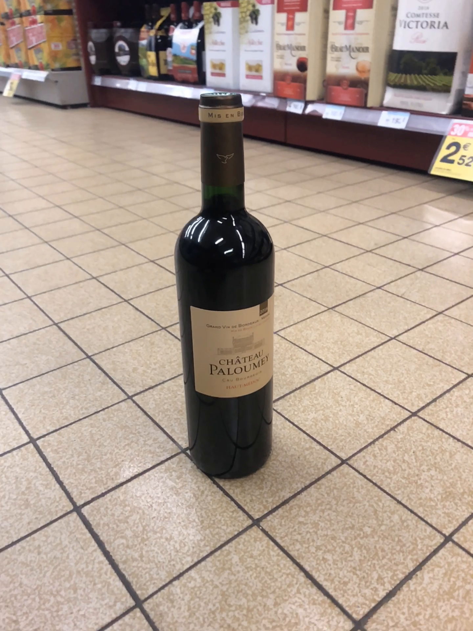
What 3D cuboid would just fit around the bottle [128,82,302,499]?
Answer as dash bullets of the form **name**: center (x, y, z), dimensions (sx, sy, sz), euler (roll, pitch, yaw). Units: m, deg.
- **bottle**: center (-0.015, -0.012, 0.390), dimensions (0.080, 0.288, 0.090), euler (-13, 30, -21)
